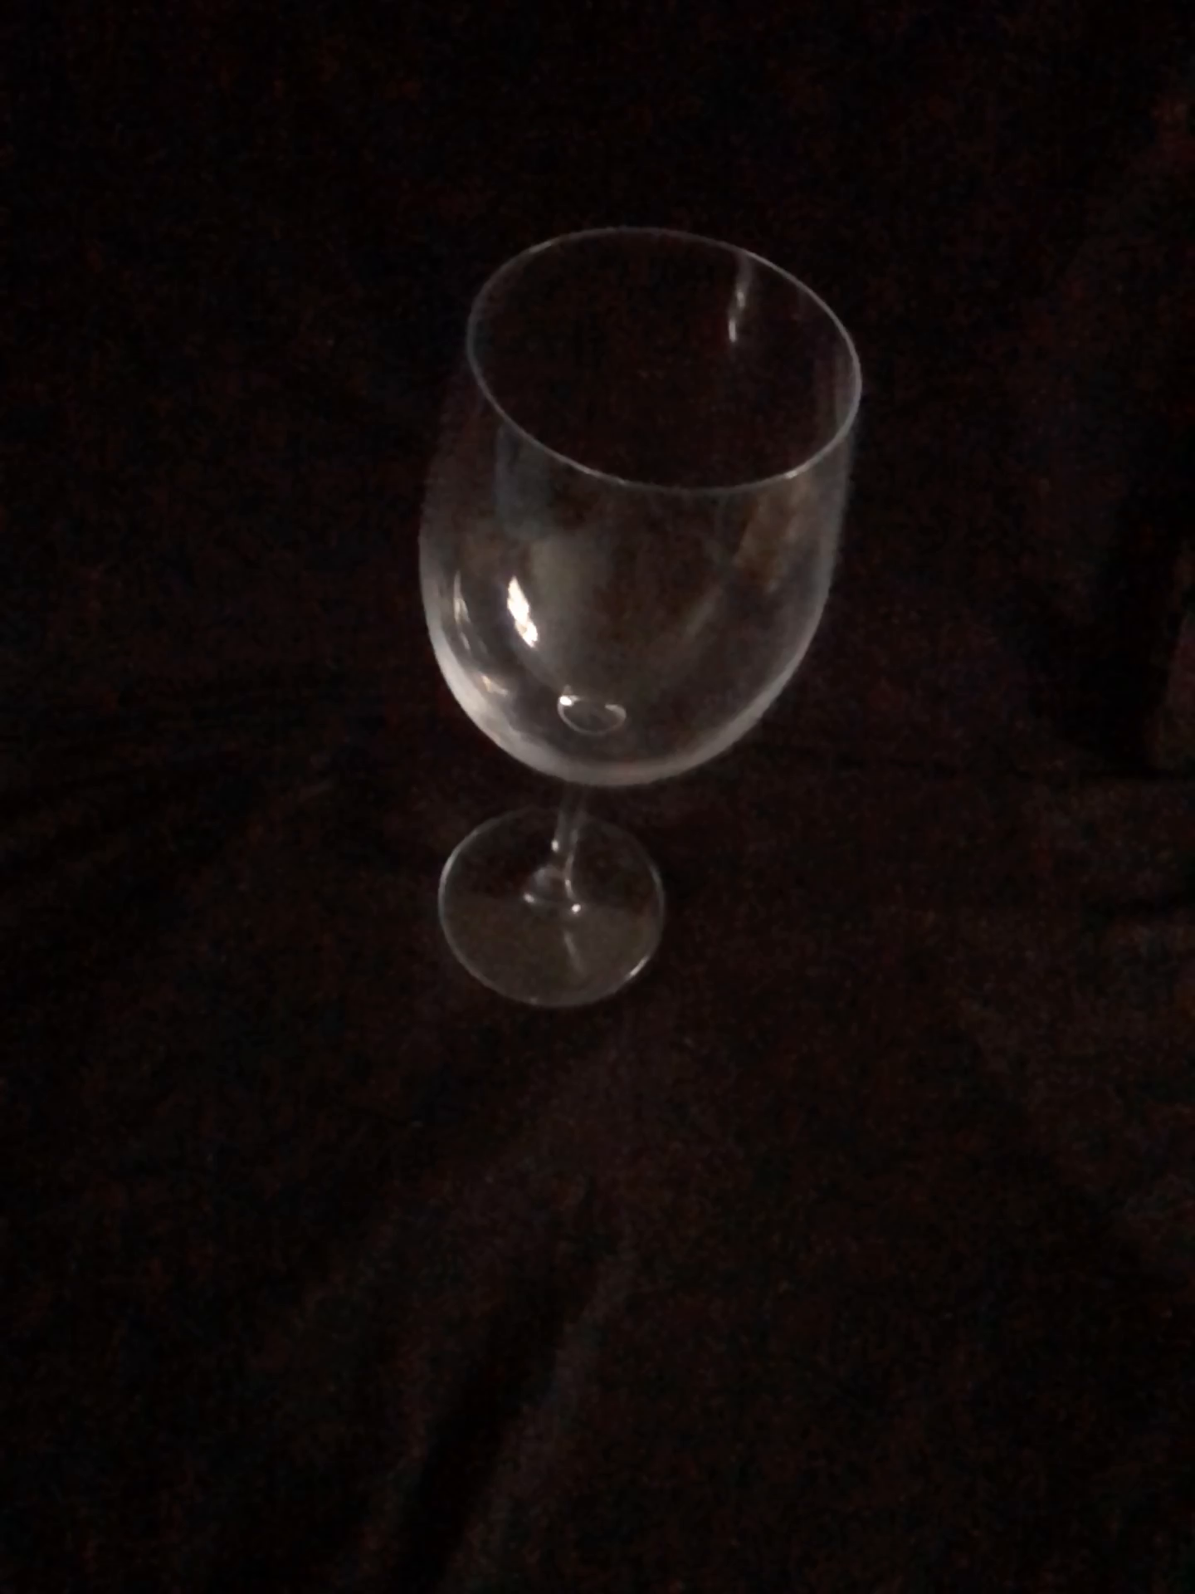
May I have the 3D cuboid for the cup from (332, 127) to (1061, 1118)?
[{"bbox_3d":[0.008,-0.020,0.373,0.100,0.267,0.103,3,59,-4],"label":"cup"}]
